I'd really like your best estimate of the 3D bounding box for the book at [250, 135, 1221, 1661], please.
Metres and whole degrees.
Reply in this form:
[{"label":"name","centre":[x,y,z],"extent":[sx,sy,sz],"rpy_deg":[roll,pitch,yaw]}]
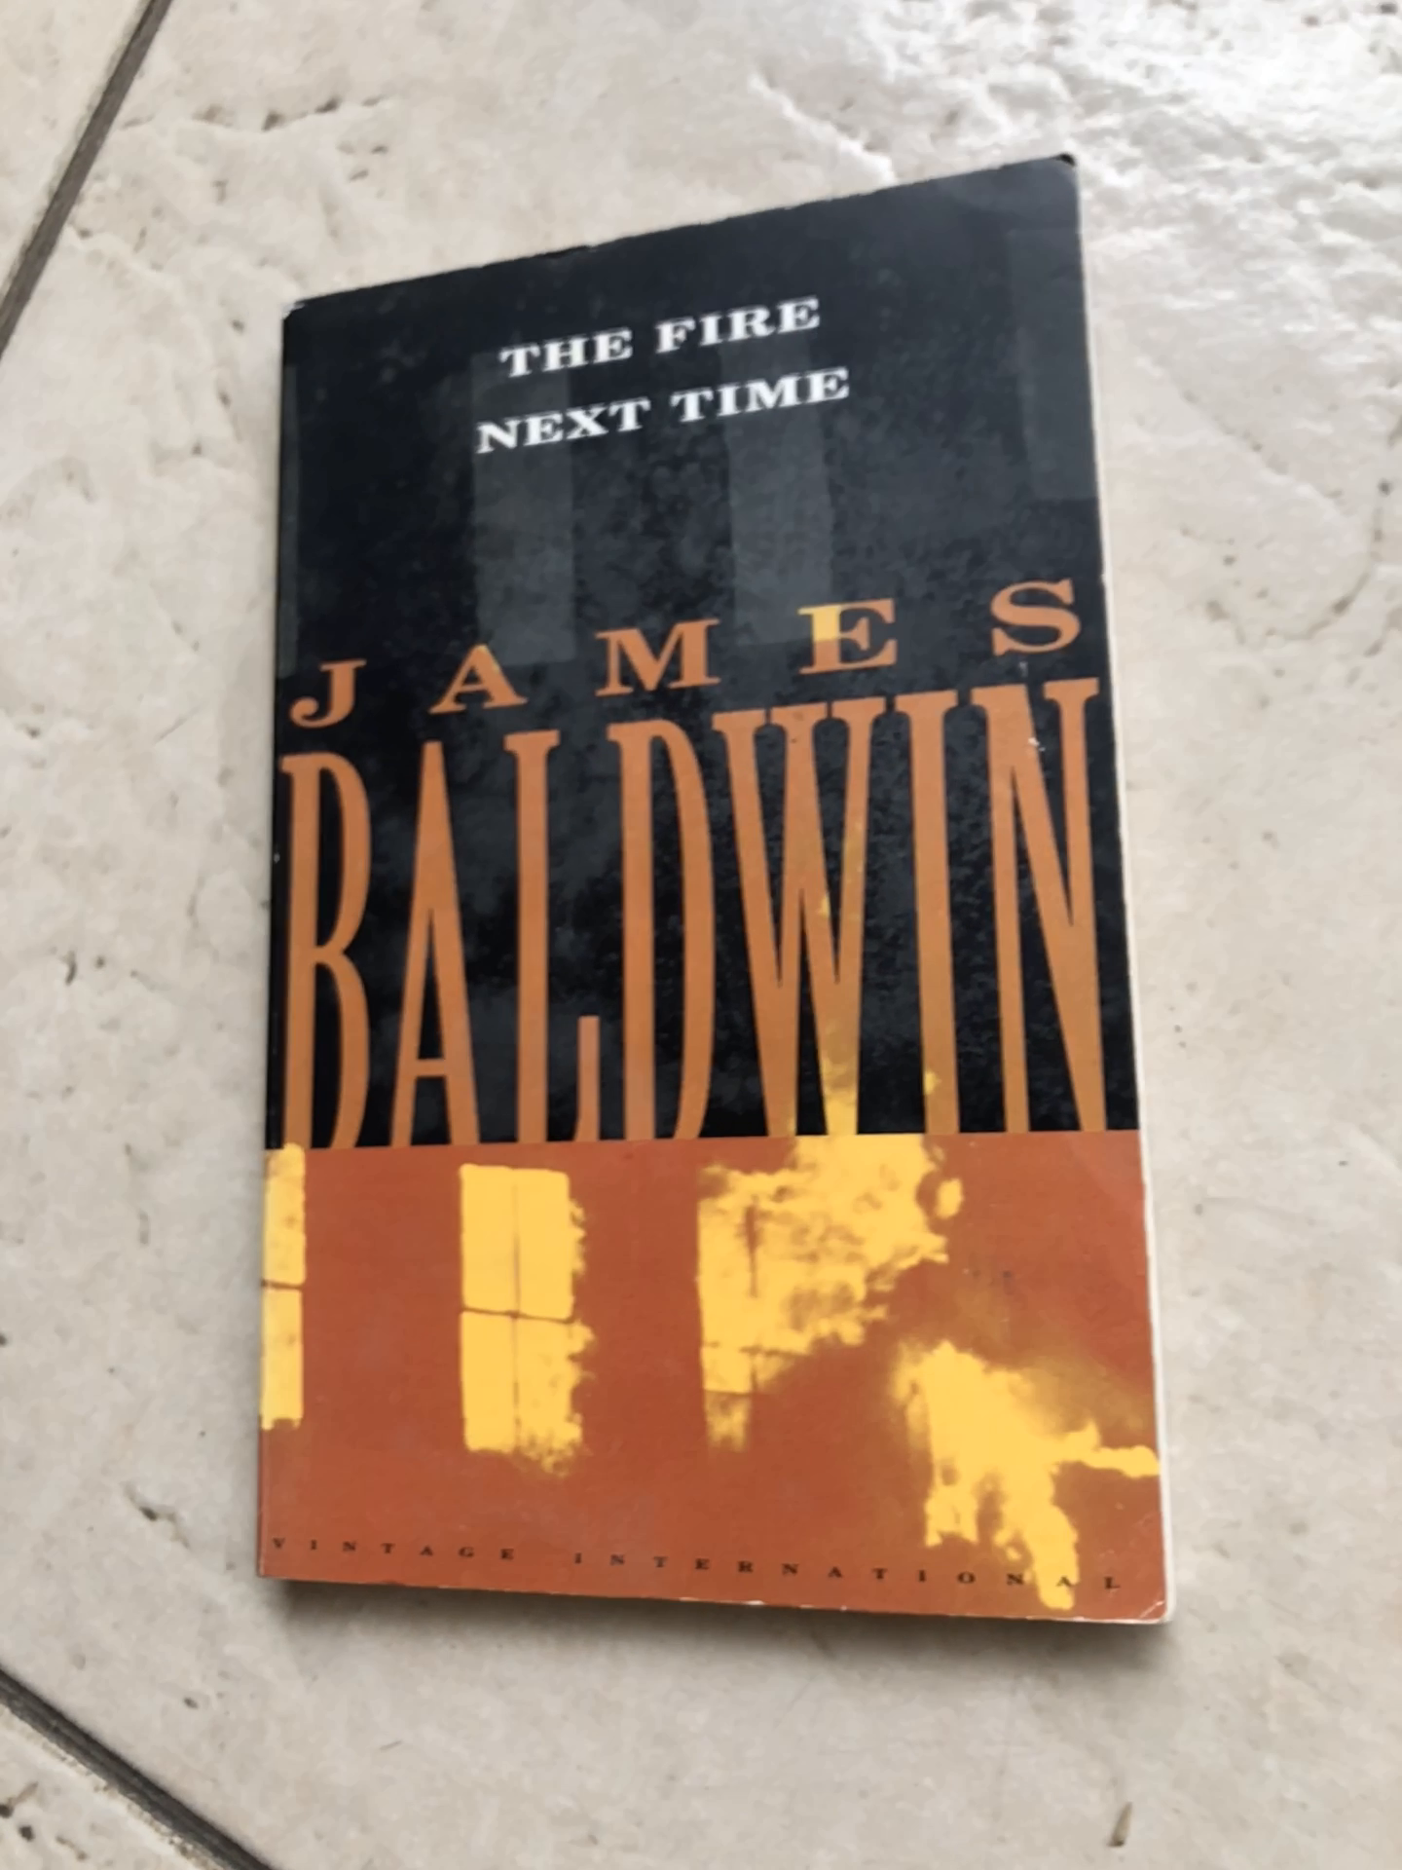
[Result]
[{"label":"book","centre":[0.000,-0.008,0.228],"extent":[0.130,0.016,0.200],"rpy_deg":[-4,80,15]}]
